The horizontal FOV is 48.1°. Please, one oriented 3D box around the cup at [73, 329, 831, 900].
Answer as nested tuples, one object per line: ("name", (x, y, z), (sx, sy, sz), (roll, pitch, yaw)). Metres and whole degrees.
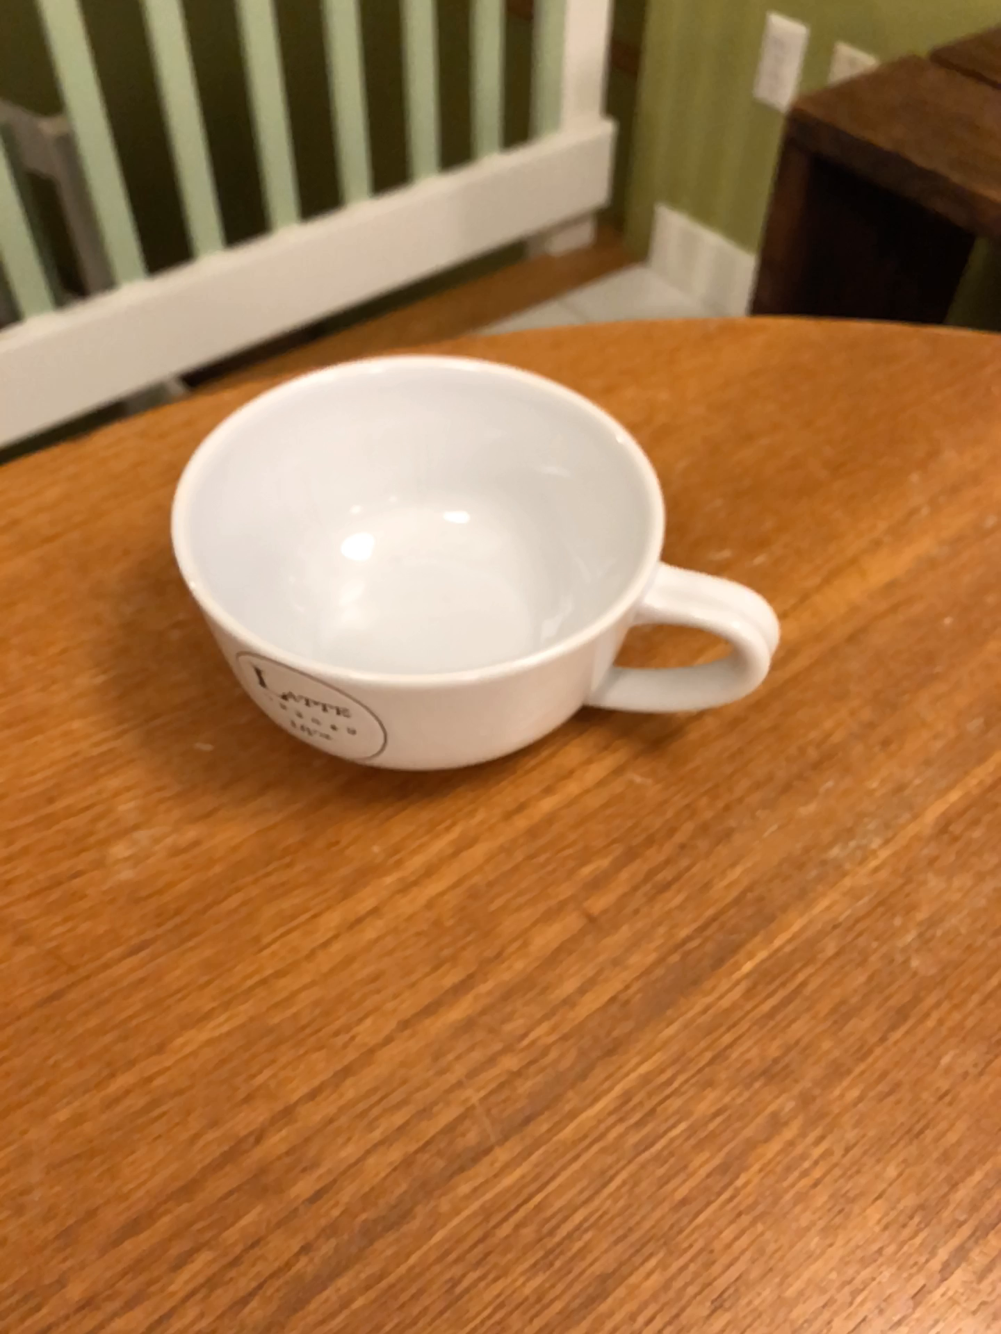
("cup", (-0.003, -0.025, 0.331), (0.179, 0.055, 0.139), (11, 50, 8))
